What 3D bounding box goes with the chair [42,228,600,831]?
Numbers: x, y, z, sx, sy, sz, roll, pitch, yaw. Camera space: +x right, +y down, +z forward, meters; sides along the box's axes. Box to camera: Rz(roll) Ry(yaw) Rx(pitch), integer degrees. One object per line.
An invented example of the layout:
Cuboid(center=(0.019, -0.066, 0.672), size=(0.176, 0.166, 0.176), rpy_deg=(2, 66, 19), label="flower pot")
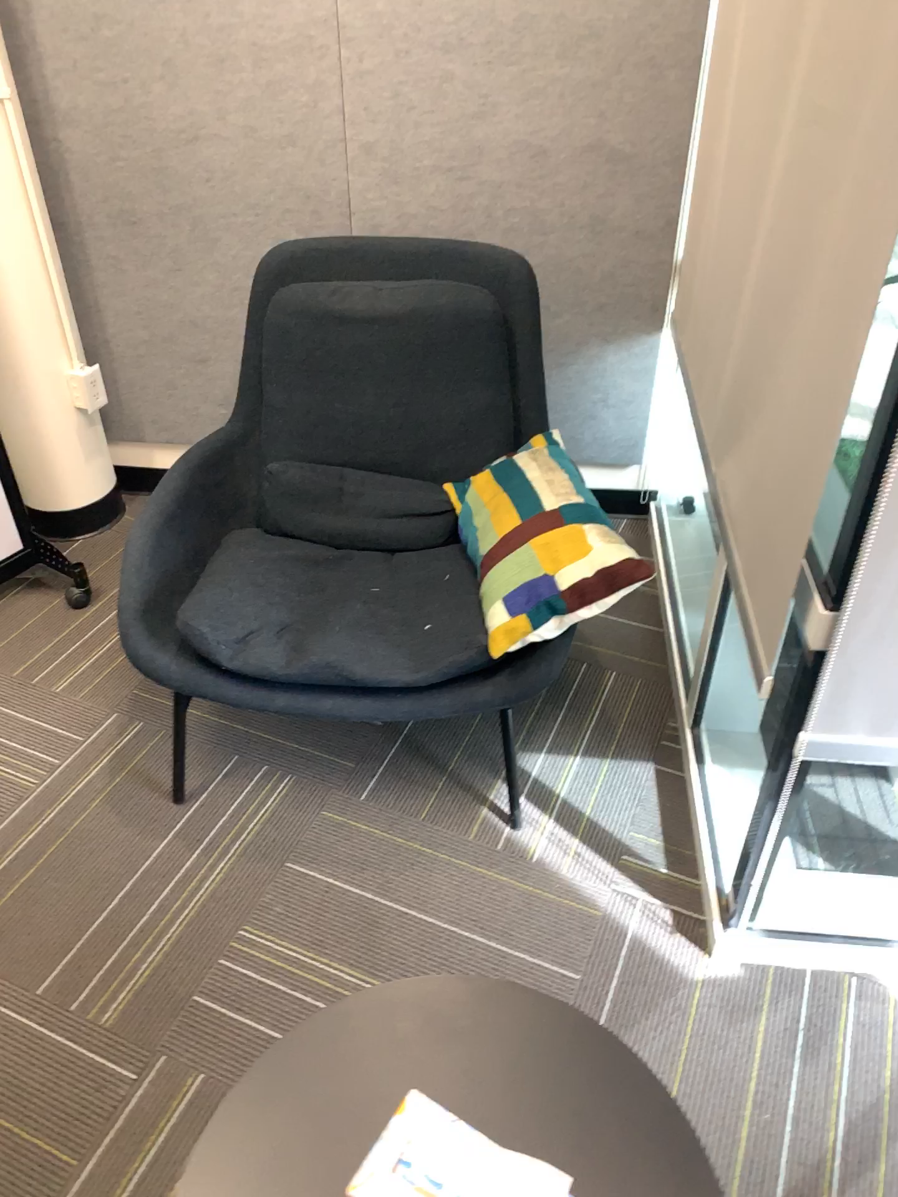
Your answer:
Cuboid(center=(-0.144, -0.218, 1.992), size=(0.791, 0.815, 1.005), rpy_deg=(7, 38, 9), label="chair")
